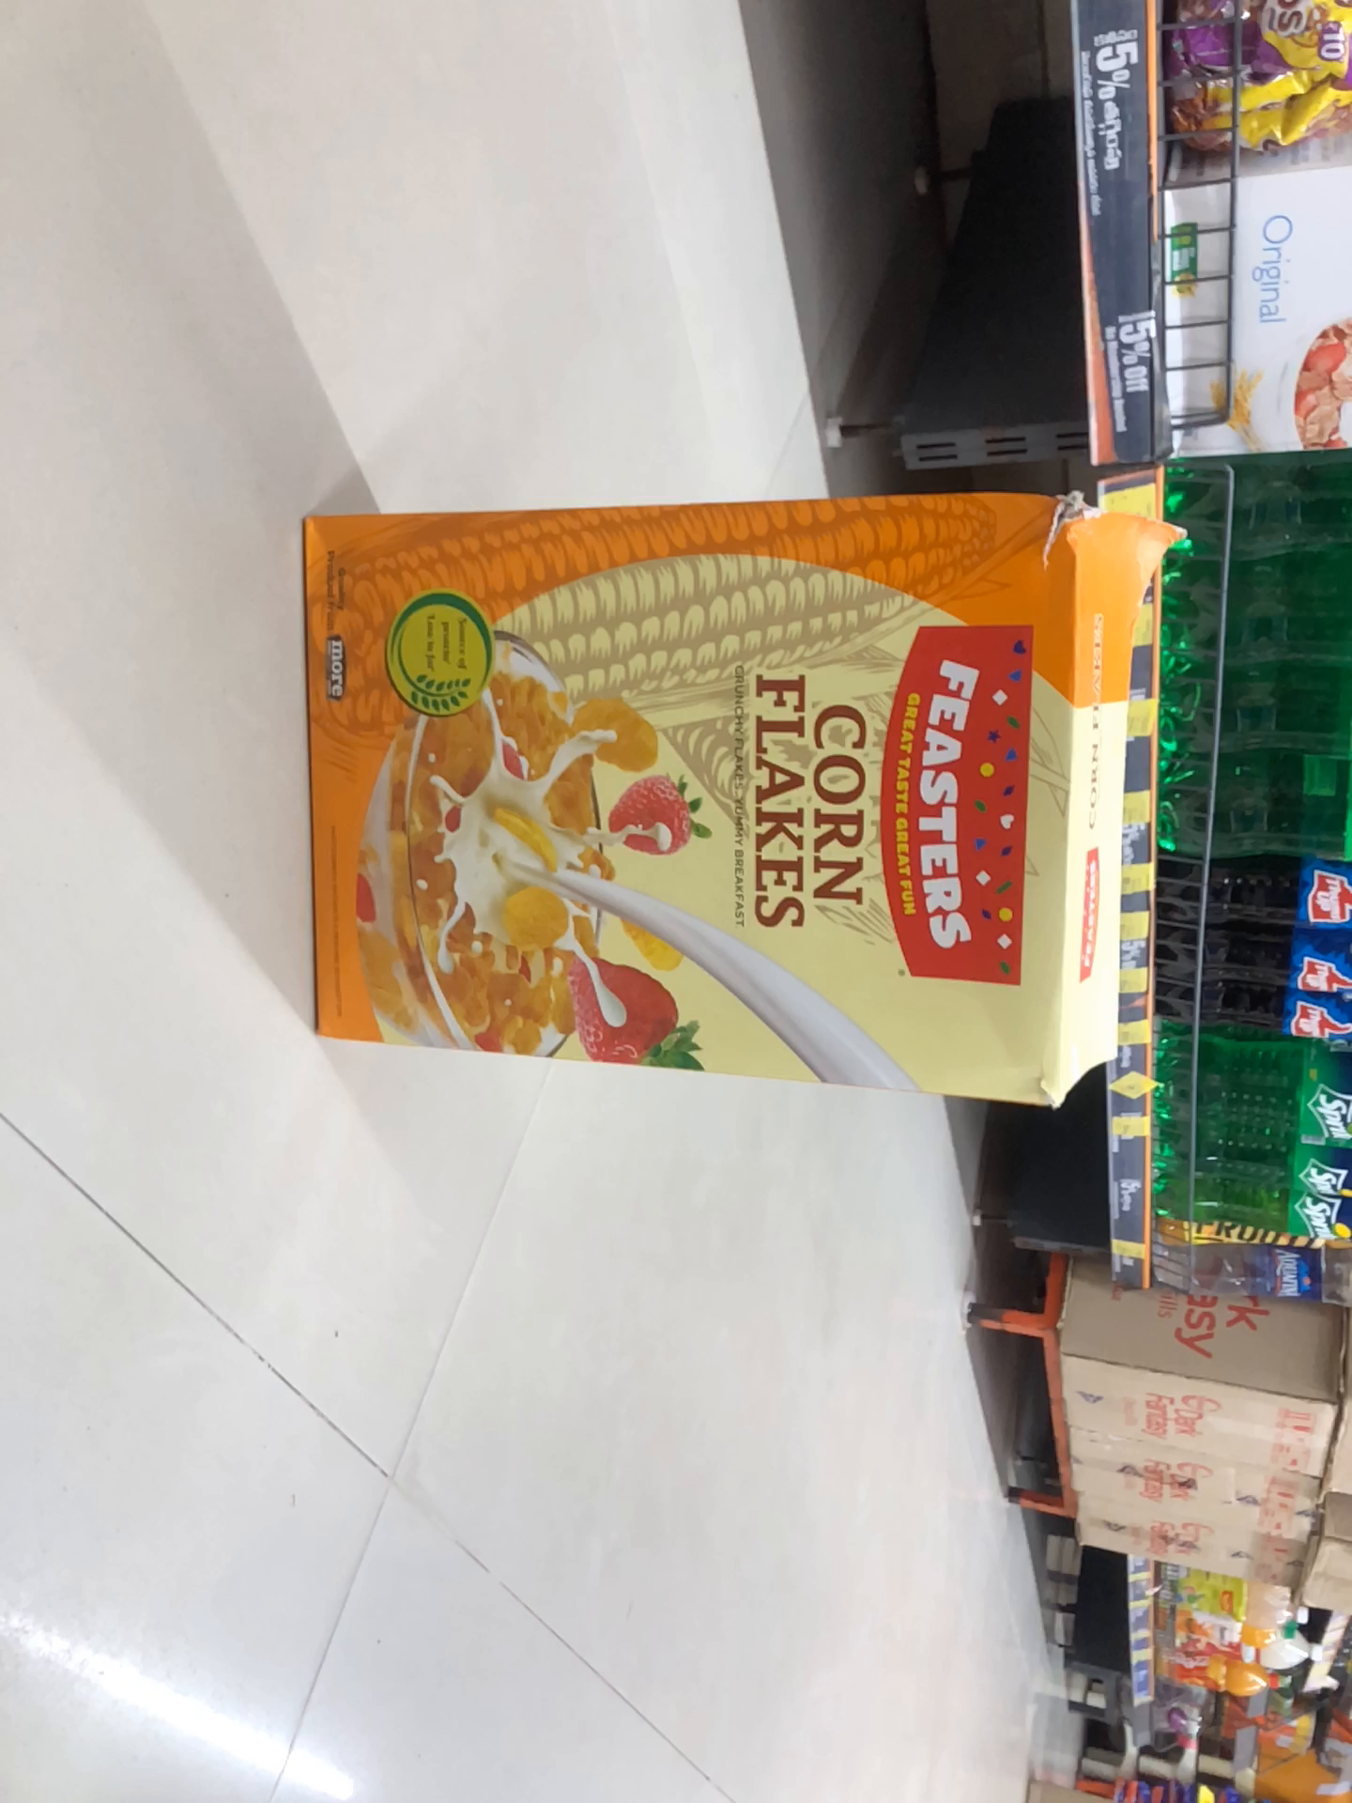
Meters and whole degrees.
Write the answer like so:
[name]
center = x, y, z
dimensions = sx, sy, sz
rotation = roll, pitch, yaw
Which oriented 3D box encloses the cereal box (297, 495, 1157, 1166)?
[cereal box]
center = 0.013, -0.026, 0.489
dimensions = 0.060, 0.269, 0.190
rotation = -21, 112, -72
